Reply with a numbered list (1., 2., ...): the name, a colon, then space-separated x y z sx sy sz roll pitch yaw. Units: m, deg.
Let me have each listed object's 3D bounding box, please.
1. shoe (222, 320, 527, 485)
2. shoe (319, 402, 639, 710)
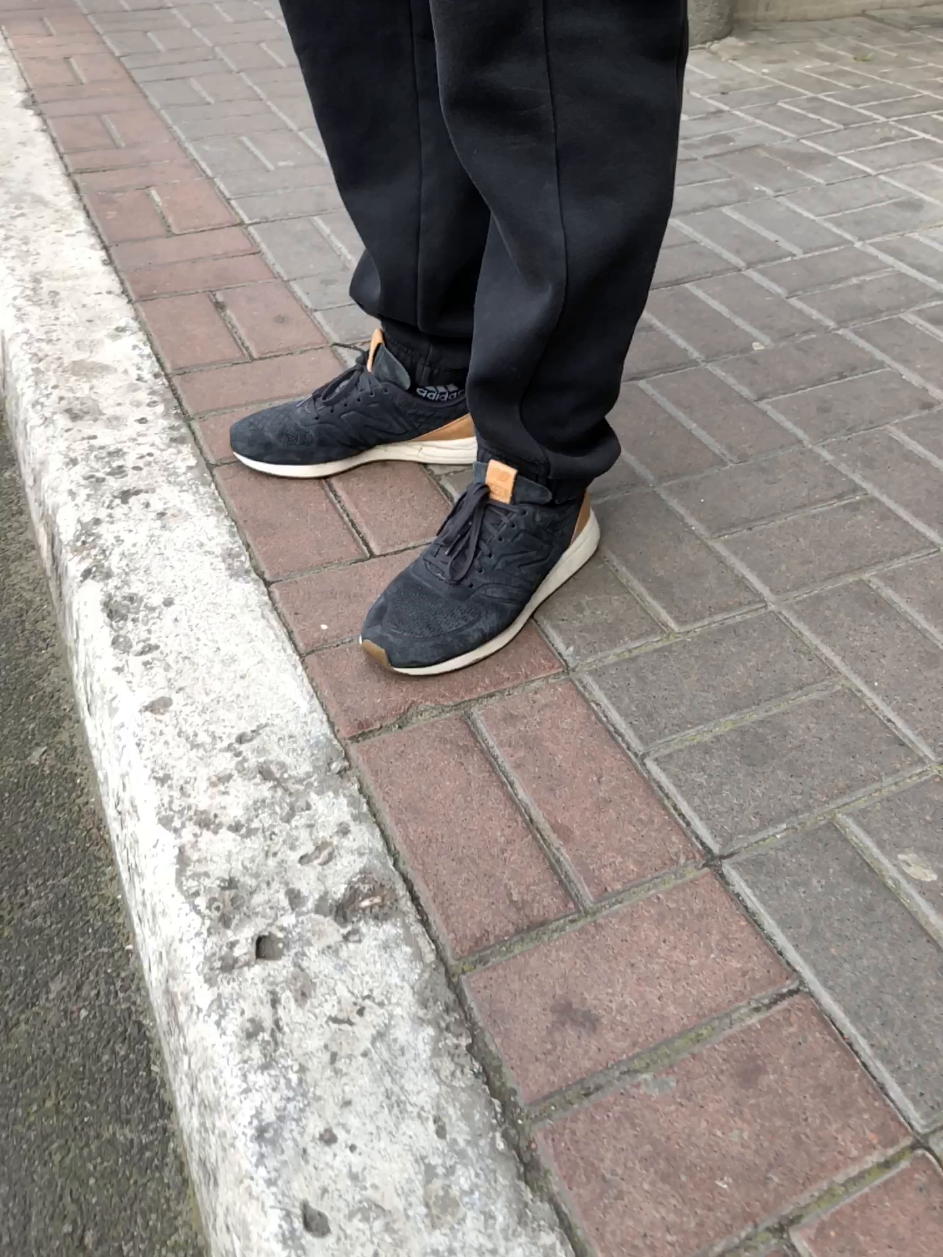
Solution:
1. shoe: -0.097 -0.226 1.019 0.280 0.109 0.105 -5 42 -10
2. shoe: 0.013 -0.072 0.858 0.104 0.109 0.281 29 47 26
